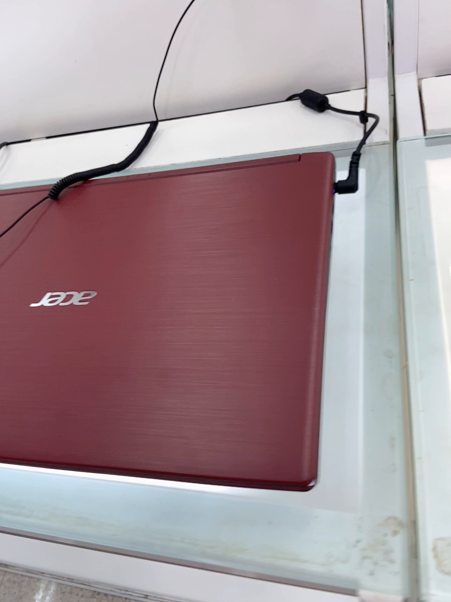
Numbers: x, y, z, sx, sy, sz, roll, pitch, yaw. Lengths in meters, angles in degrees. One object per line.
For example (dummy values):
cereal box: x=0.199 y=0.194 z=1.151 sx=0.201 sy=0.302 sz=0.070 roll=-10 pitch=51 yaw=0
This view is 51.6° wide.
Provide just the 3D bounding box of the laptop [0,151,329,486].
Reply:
laptop: x=-0.115 y=-0.012 z=0.360 sx=0.368 sy=0.006 sz=0.262 roll=-1 pitch=51 yaw=19
